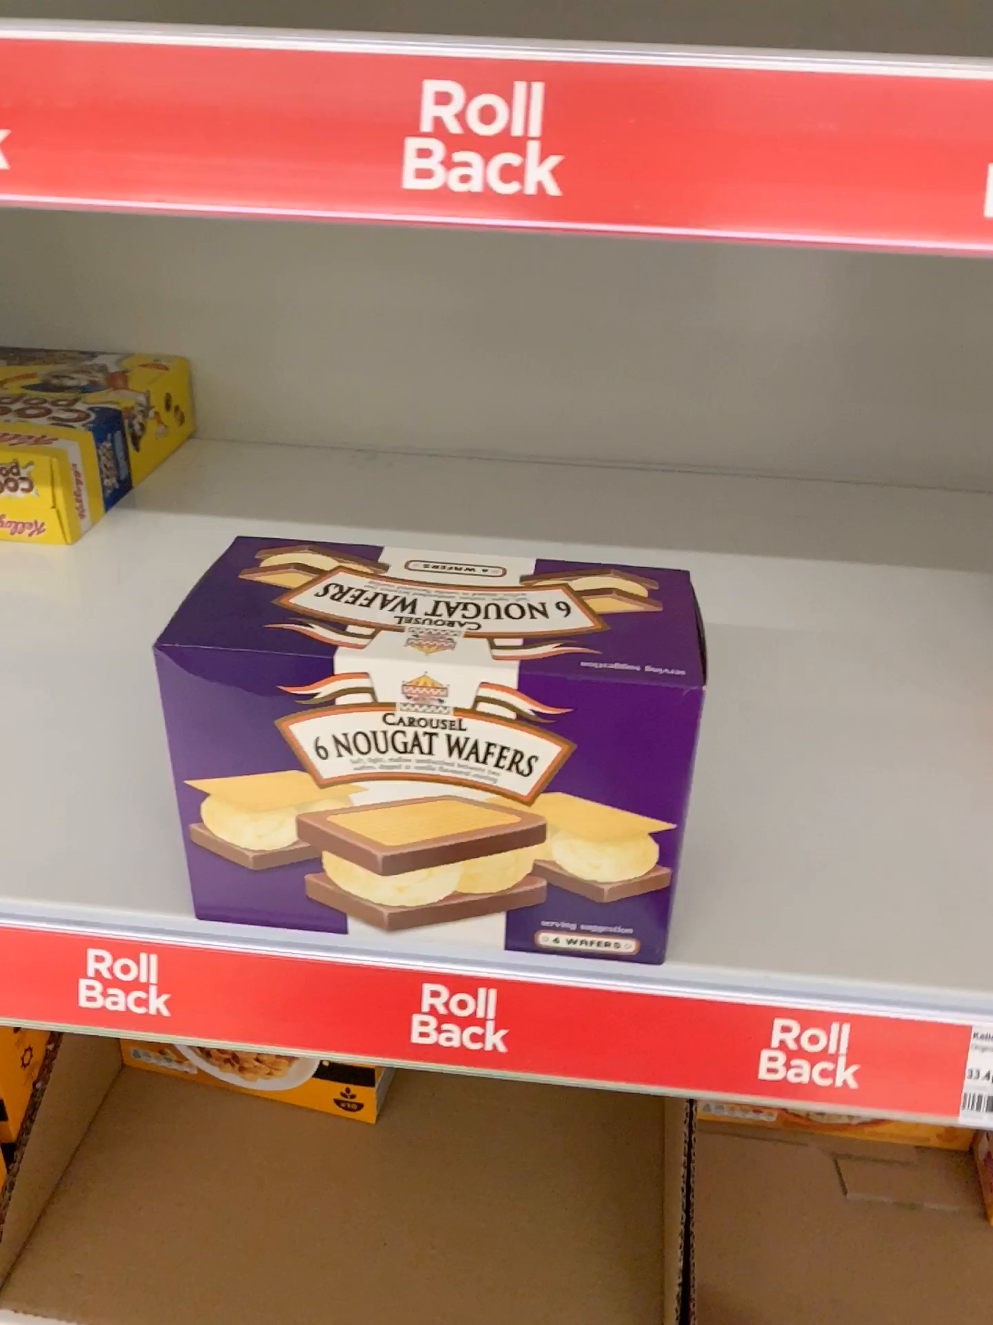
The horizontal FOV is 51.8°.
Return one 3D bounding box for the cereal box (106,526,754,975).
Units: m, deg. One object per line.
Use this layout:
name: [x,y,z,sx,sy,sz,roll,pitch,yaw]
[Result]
cereal box: [-0.019,0.027,0.363,0.190,0.109,0.091,5,31,4]
